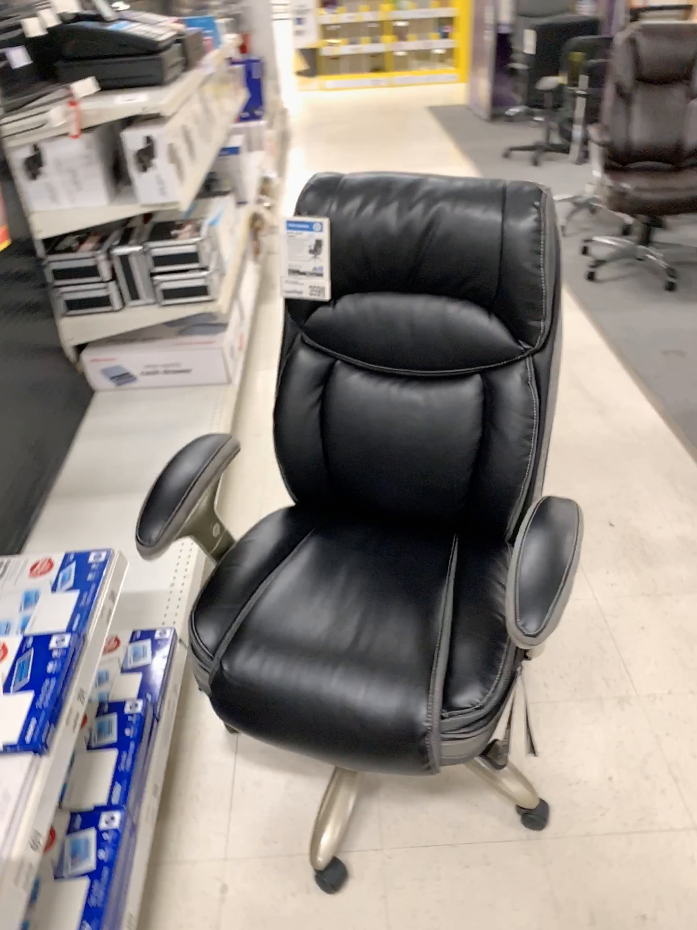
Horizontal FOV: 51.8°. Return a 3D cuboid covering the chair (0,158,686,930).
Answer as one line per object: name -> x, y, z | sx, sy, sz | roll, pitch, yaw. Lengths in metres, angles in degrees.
chair -> 0.054, 0.130, 1.269 | 0.741, 1.094, 0.744 | 8, 36, 16
